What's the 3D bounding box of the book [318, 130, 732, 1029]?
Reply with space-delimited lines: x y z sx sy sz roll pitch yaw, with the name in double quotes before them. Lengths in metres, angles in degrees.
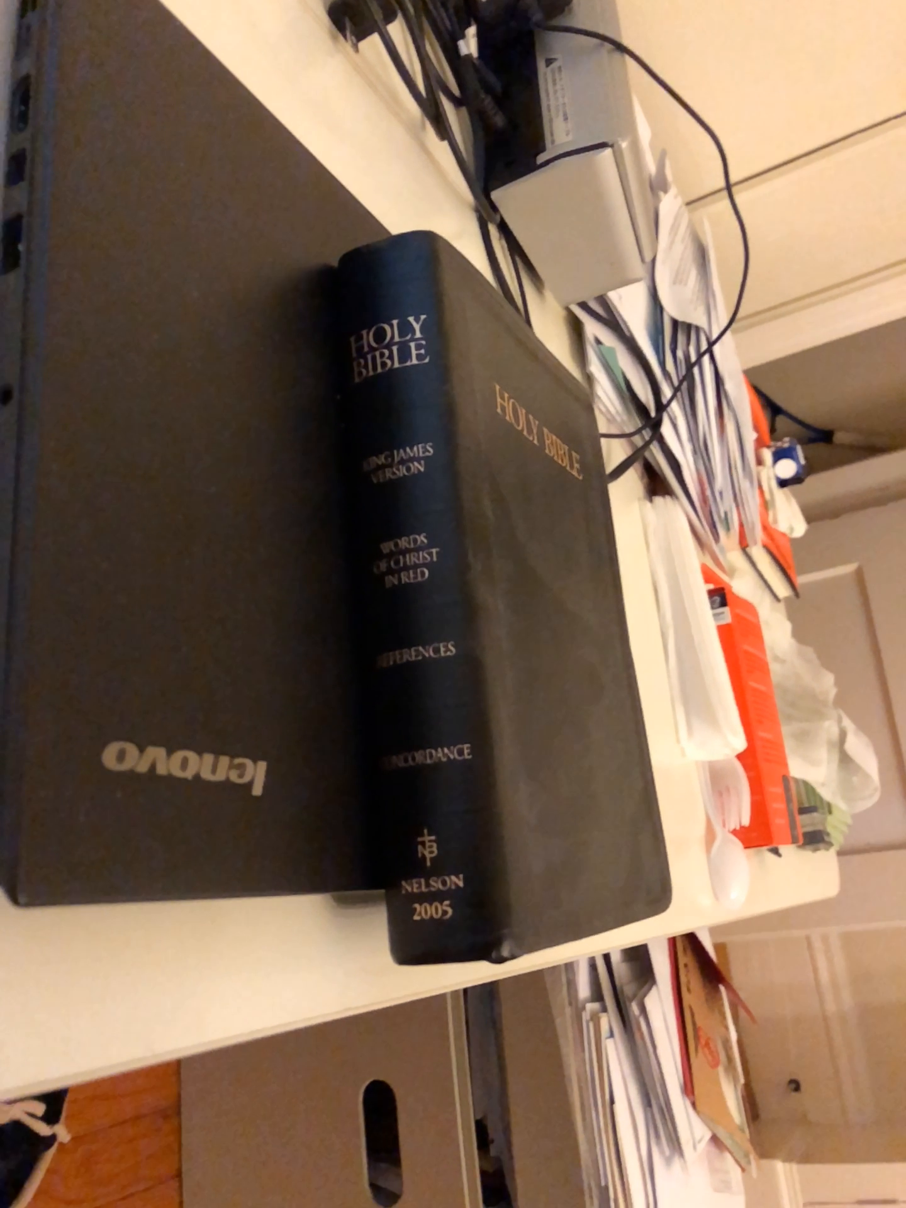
"book" 0.031 -0.002 0.338 0.171 0.040 0.240 21 58 -59
